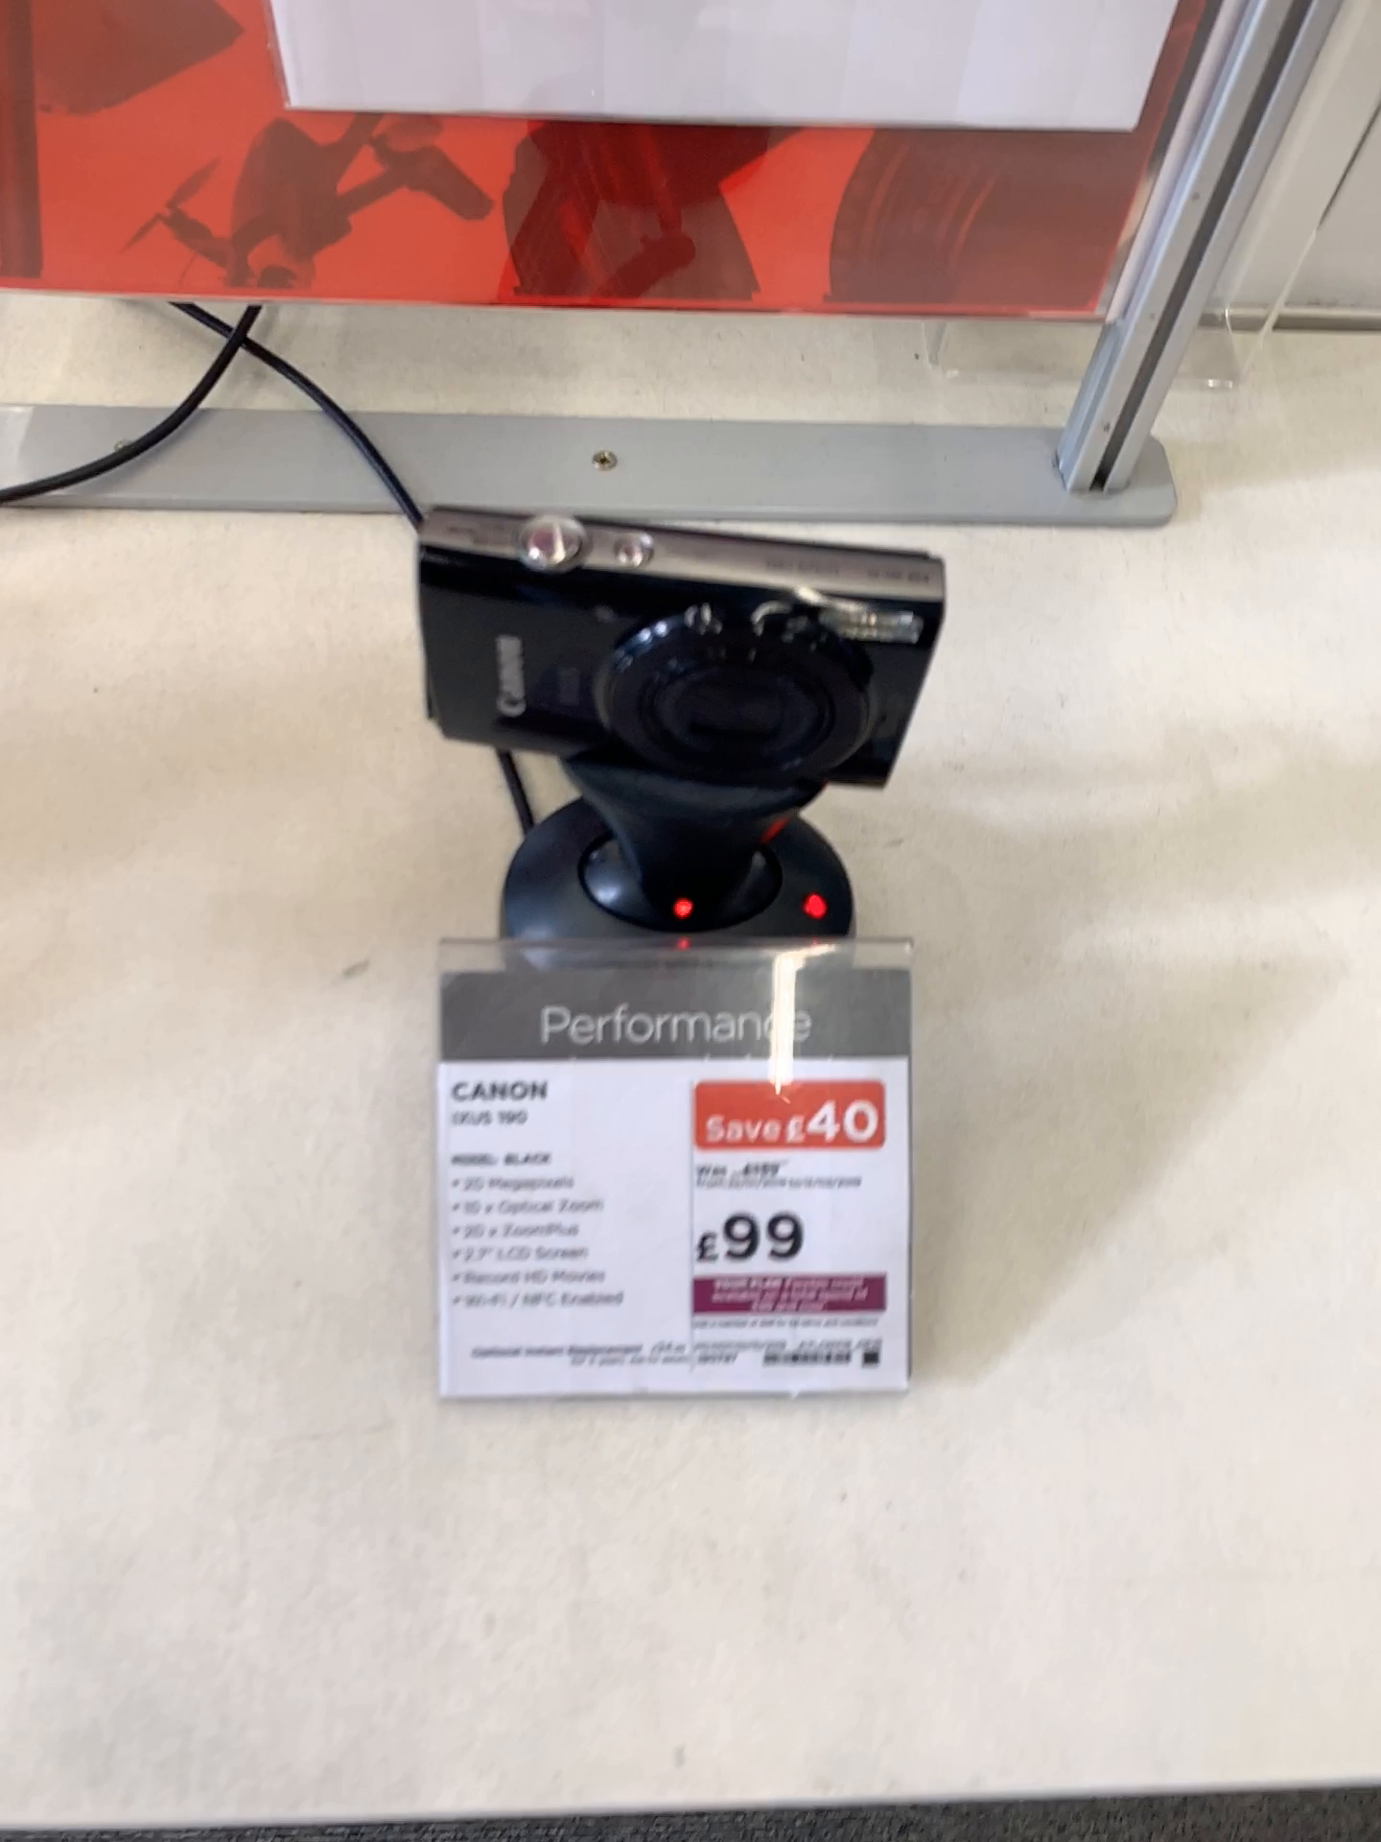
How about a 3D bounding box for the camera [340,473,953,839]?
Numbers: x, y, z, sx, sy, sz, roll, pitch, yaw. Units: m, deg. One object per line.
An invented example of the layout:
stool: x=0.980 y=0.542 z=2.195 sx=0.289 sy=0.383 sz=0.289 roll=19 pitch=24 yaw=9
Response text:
camera: x=-0.007 y=-0.047 z=0.258 sx=0.100 sy=0.050 sz=0.030 roll=7 pitch=61 yaw=0
